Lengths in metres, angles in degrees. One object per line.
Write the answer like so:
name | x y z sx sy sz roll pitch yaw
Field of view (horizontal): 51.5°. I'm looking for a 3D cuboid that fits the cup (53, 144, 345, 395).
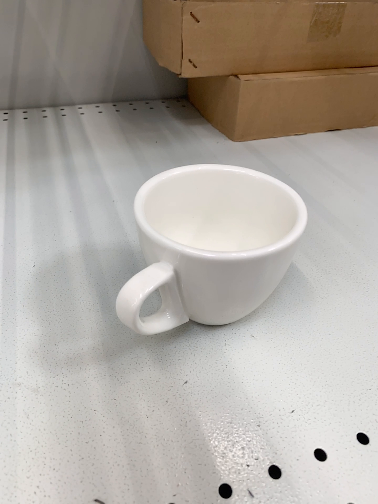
cup | 0.008 -0.004 0.233 0.132 0.062 0.095 -28 47 -34
